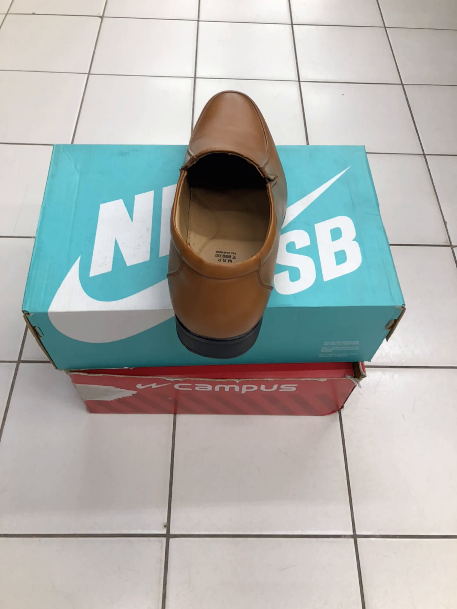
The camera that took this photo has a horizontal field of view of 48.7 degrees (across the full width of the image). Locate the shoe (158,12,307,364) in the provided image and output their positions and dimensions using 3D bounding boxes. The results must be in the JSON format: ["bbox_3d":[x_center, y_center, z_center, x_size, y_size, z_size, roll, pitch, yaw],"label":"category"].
[{"bbox_3d":[0.007,-0.114,0.430,0.090,0.100,0.312,3,57,0],"label":"shoe"}]
